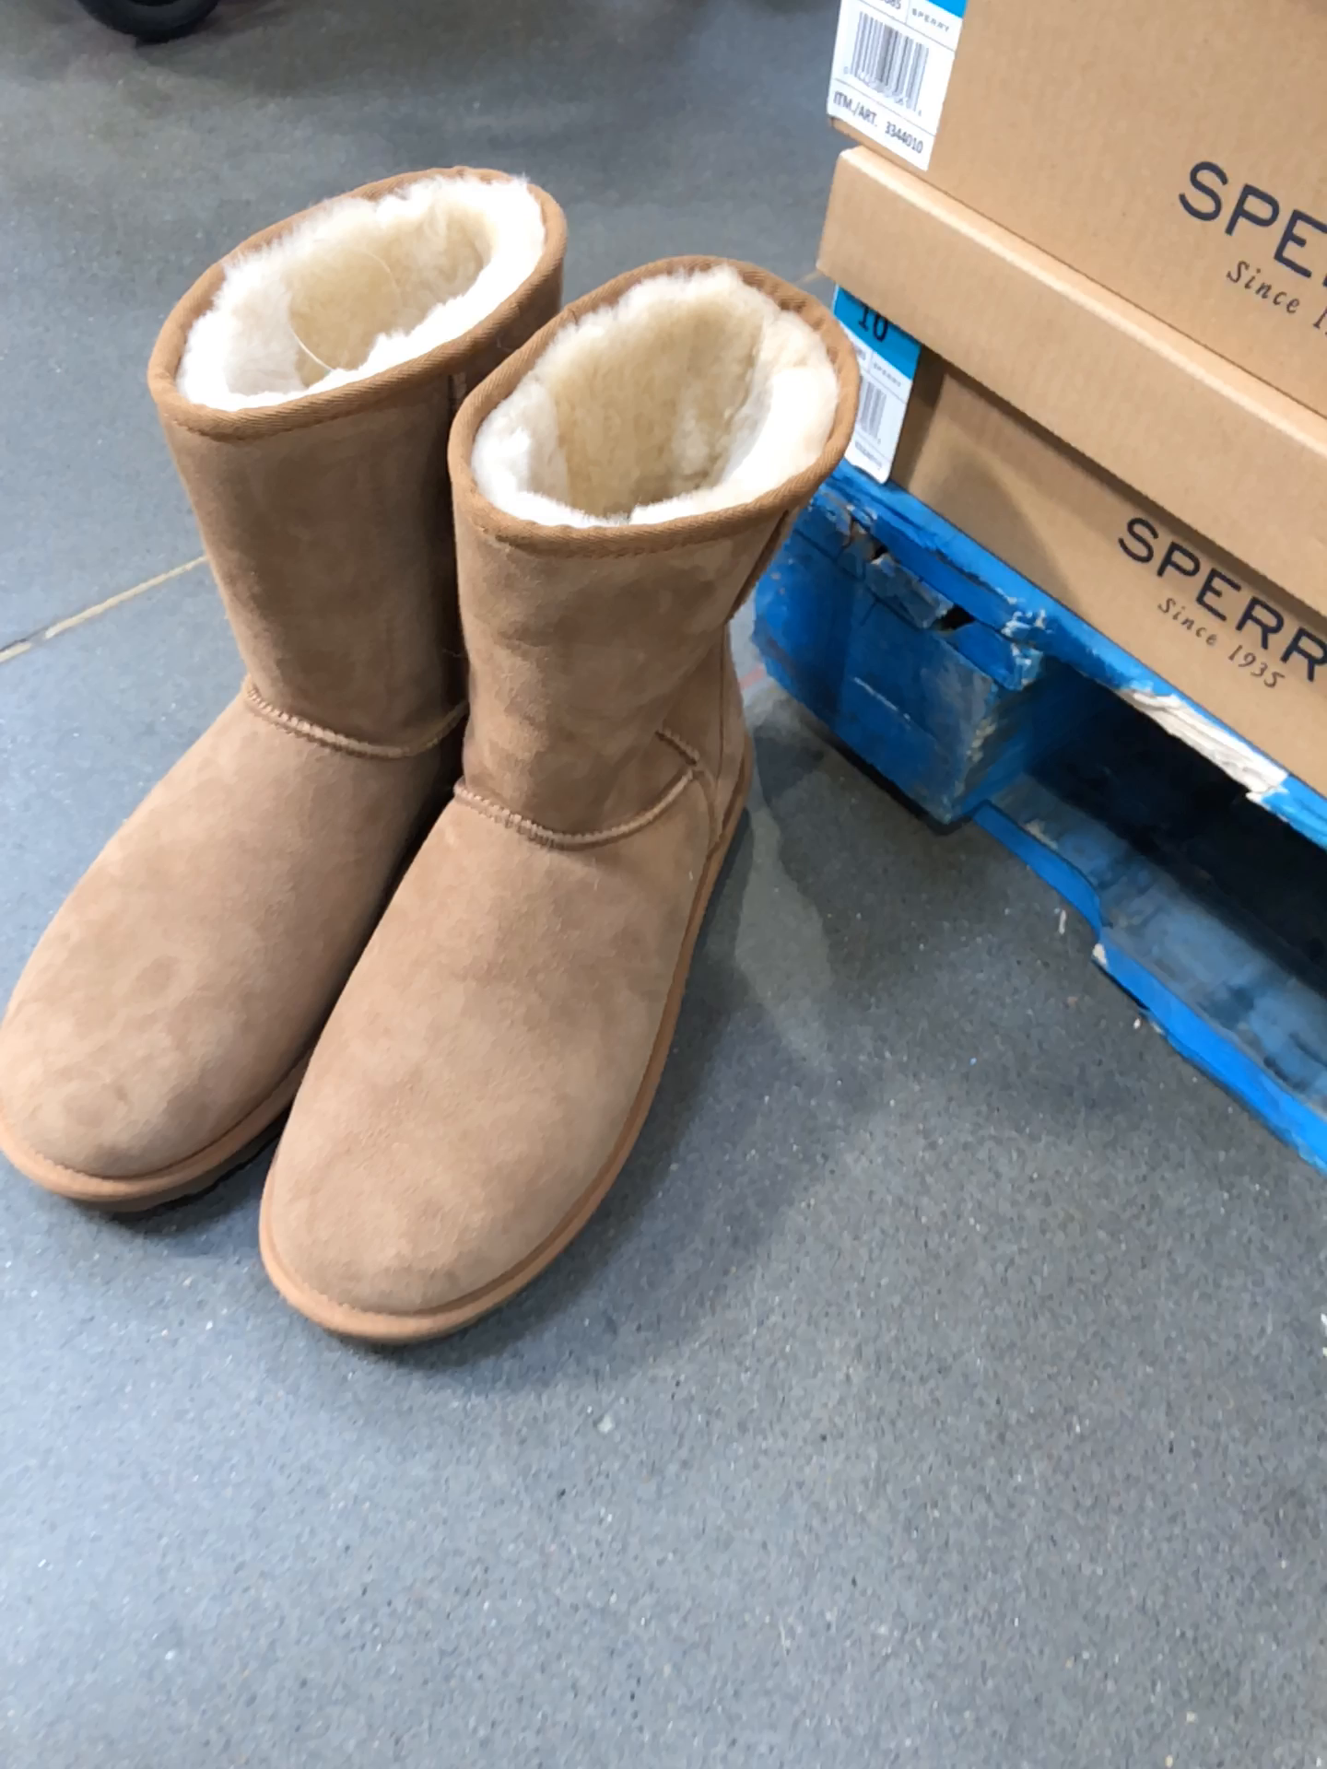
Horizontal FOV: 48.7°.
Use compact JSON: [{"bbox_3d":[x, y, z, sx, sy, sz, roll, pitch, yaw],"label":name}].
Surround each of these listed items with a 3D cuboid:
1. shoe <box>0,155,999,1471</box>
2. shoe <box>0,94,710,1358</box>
[{"bbox_3d":[-0.028,-0.022,0.474,0.130,0.259,0.311,21,55,11],"label":"shoe"},{"bbox_3d":[-0.122,-0.052,0.492,0.130,0.259,0.311,24,55,13],"label":"shoe"}]
